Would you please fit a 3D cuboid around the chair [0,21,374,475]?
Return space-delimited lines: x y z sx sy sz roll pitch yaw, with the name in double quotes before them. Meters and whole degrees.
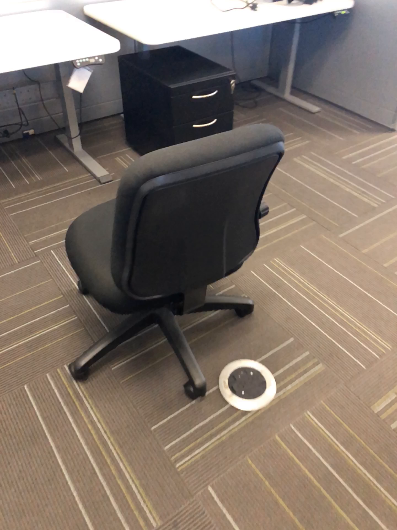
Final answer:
"chair" -0.158 -0.114 1.294 0.771 0.846 0.763 -25 47 -27
